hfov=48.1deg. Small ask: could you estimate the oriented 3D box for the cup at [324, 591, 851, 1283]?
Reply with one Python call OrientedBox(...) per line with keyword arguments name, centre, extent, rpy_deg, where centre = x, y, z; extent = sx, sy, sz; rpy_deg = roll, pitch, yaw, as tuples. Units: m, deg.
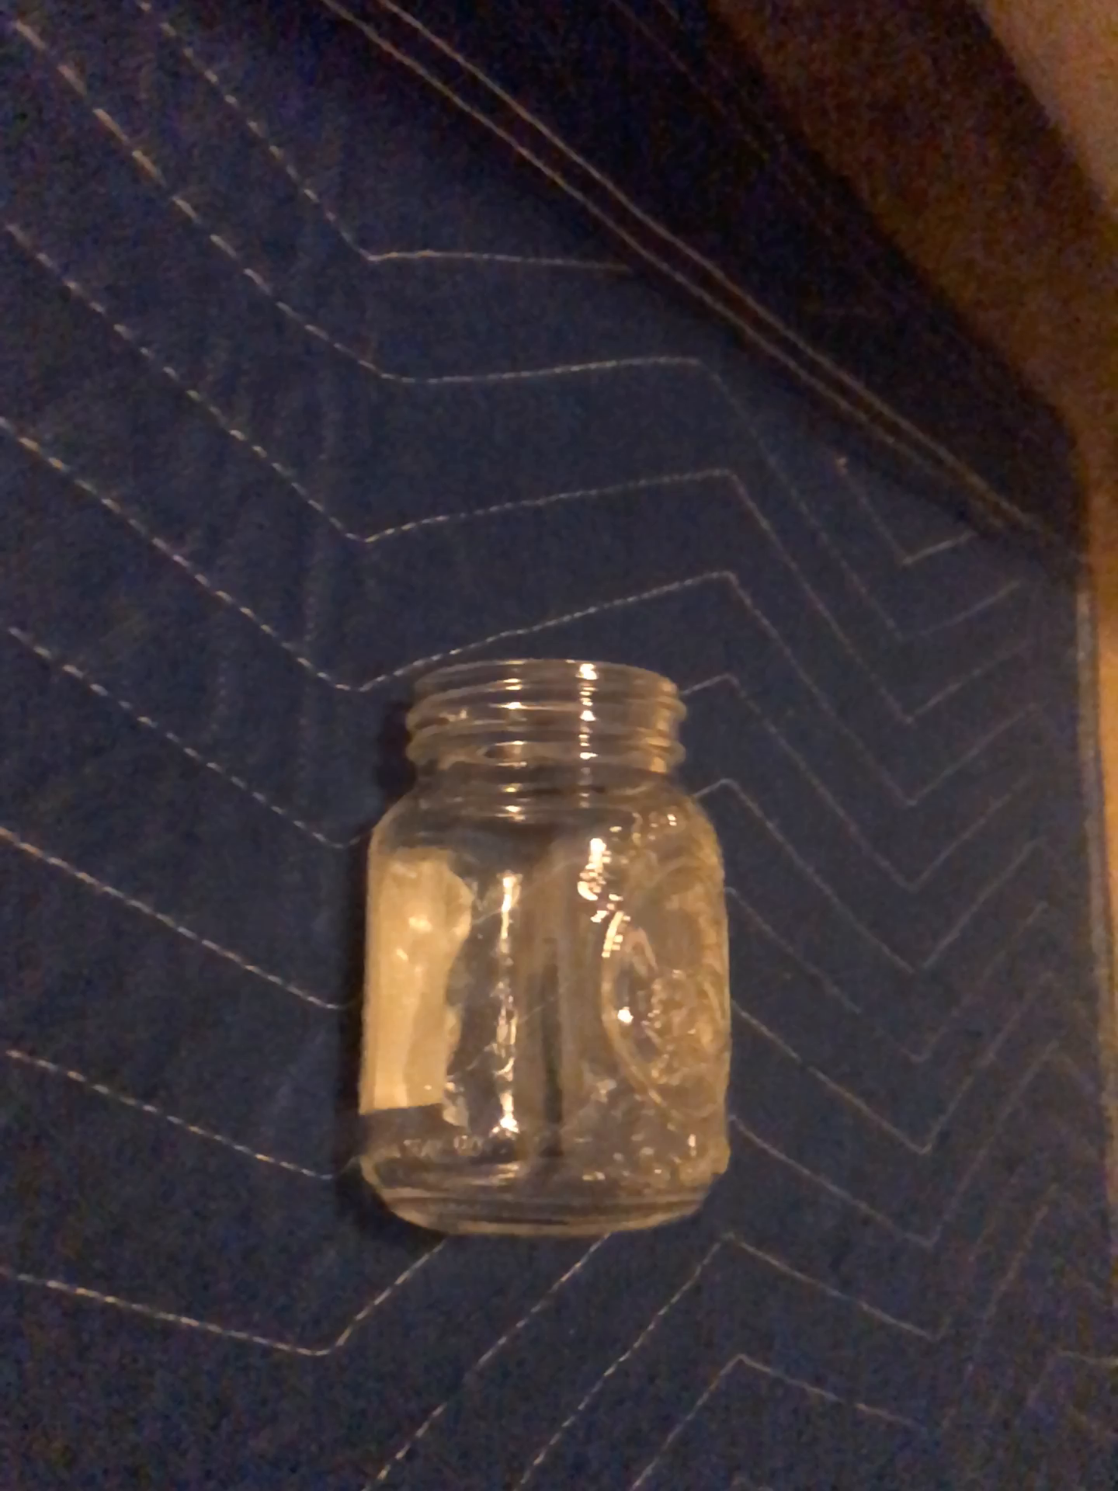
OrientedBox(name="cup", centre=(0.010, 0.031, 0.221), extent=(0.089, 0.043, 0.095), rpy_deg=(4, 85, -49))
